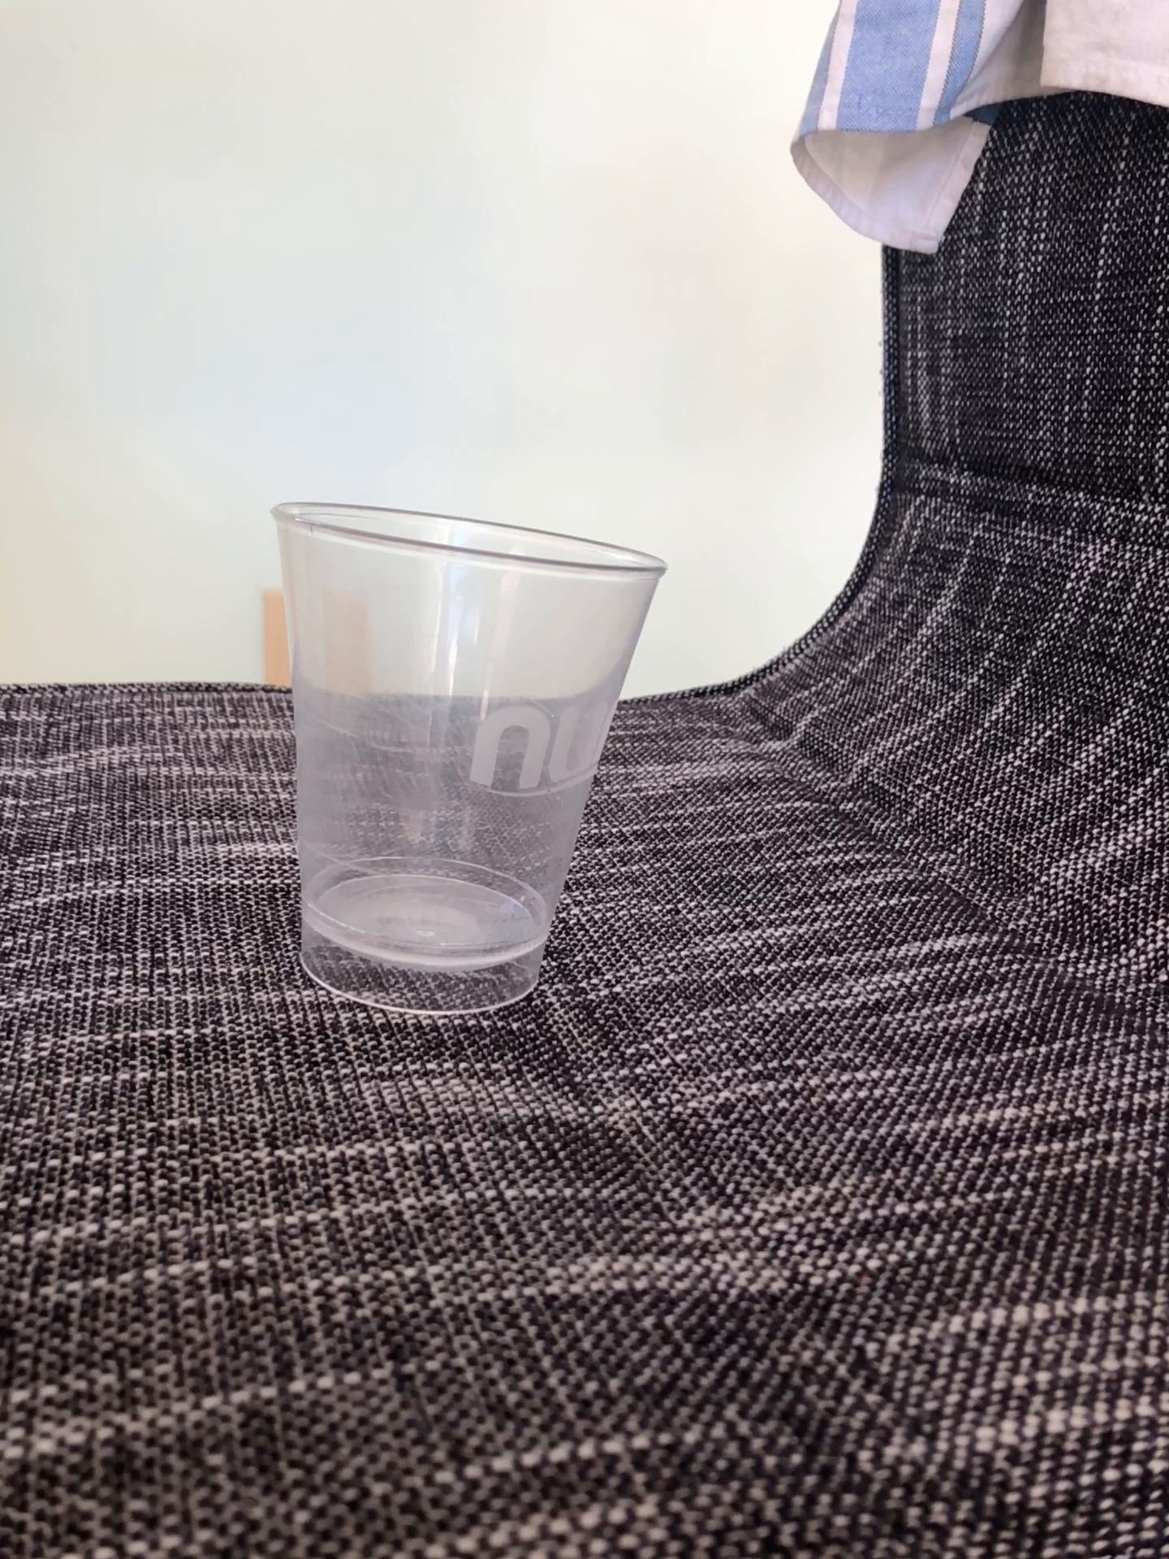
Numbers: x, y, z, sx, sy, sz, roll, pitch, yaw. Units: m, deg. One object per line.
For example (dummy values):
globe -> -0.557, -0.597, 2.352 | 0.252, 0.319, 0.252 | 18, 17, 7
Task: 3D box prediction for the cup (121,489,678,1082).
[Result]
cup -> -0.040, -0.006, 0.285 | 0.080, 0.100, 0.080 | 7, 14, -2
